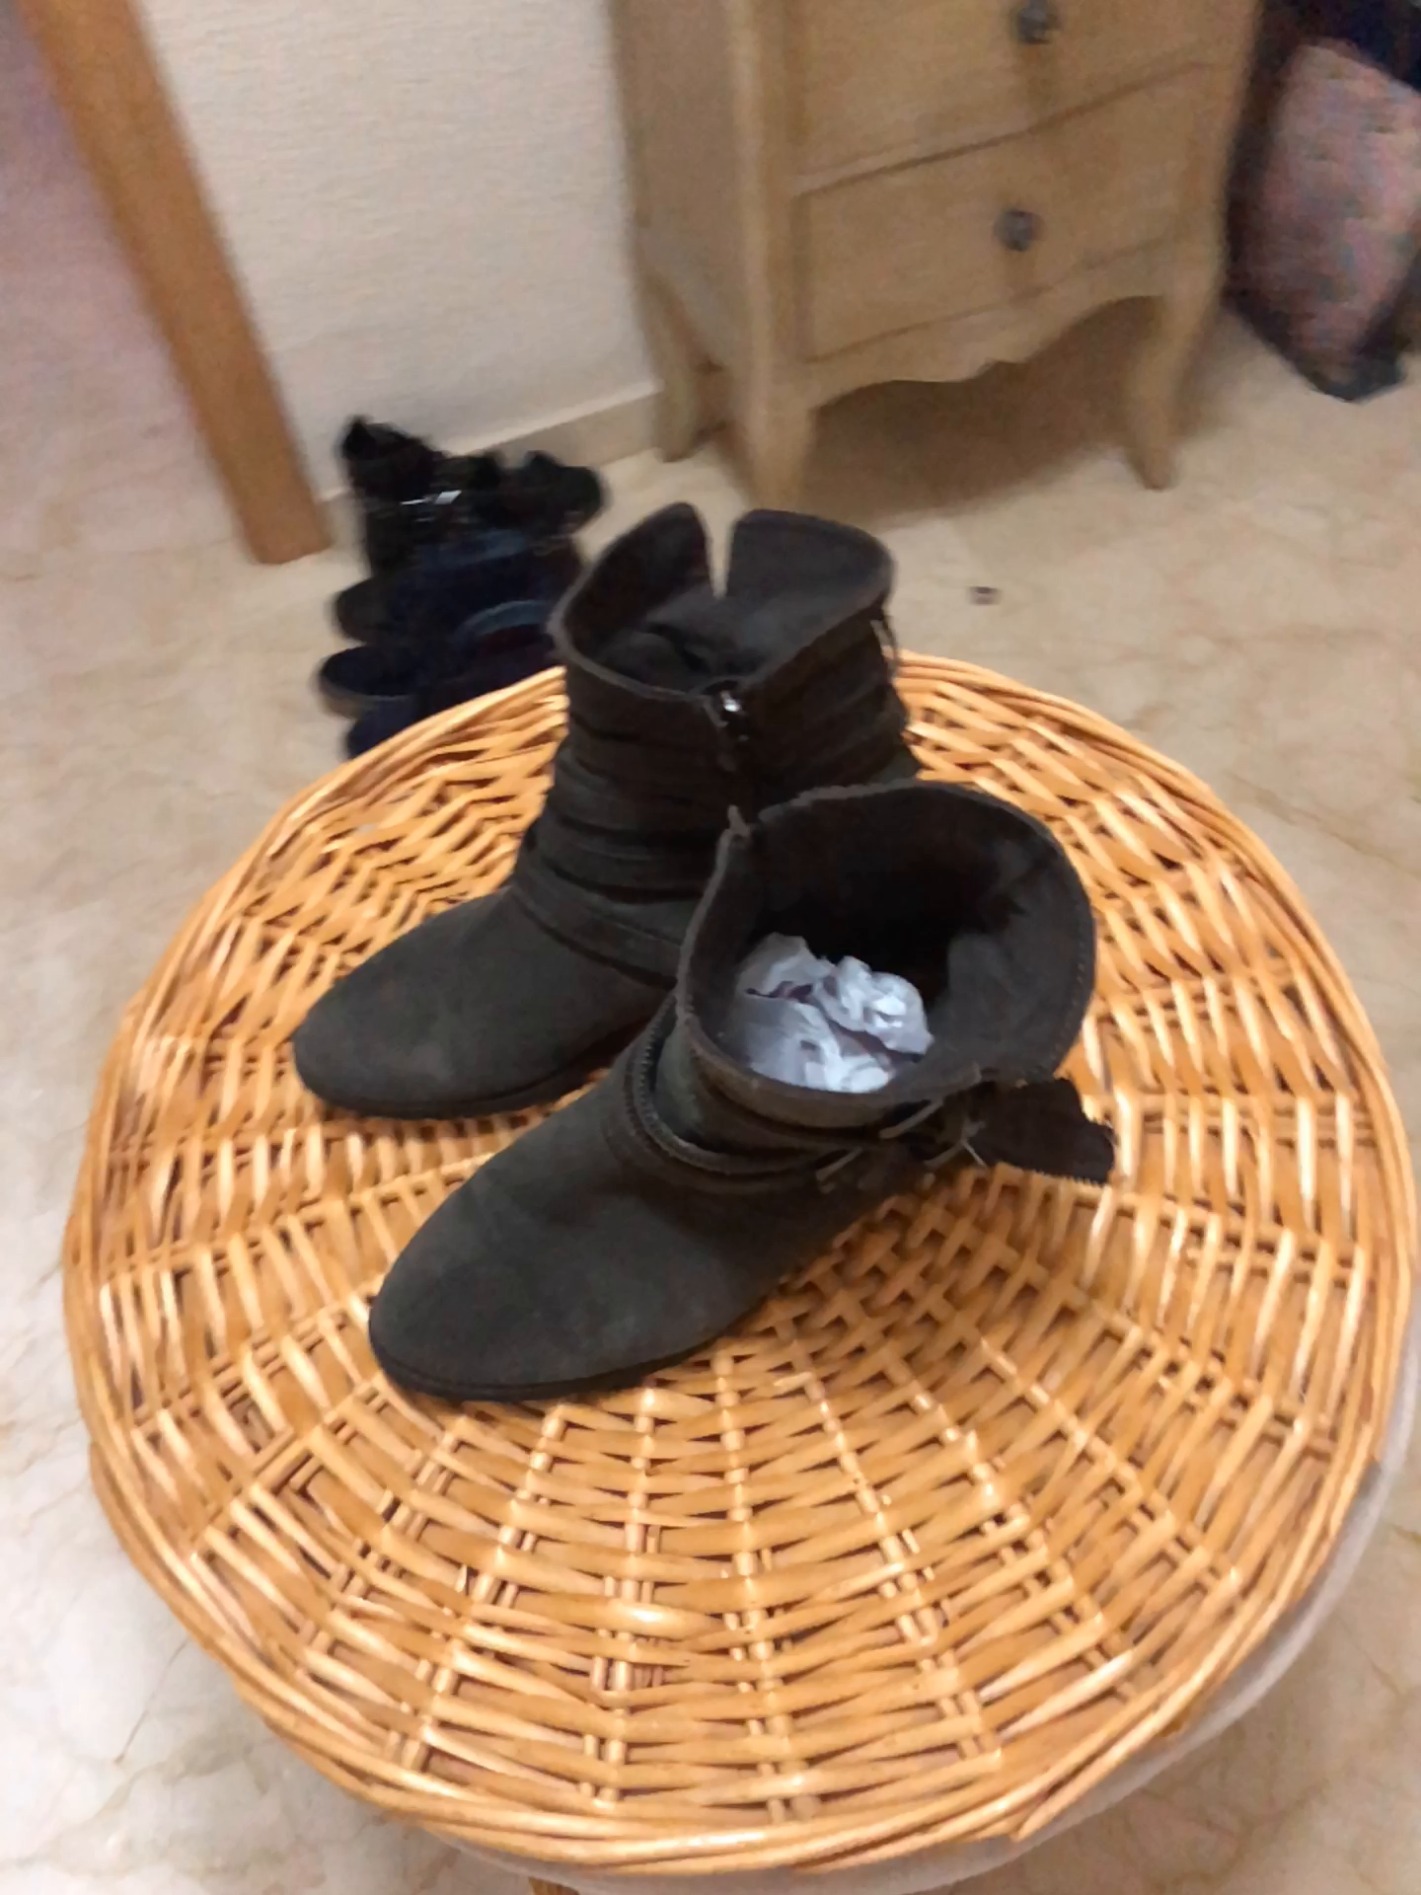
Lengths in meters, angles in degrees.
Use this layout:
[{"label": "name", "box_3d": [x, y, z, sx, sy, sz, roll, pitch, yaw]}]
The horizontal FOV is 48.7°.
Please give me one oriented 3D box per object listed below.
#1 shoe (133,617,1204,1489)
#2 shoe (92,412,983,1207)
[{"label": "shoe", "box_3d": [-0.008, 0.038, 0.482, 0.260, 0.170, 0.110, -22, 57, -9]}, {"label": "shoe", "box_3d": [-0.047, -0.046, 0.552, 0.260, 0.169, 0.110, -22, 50, -9]}]
